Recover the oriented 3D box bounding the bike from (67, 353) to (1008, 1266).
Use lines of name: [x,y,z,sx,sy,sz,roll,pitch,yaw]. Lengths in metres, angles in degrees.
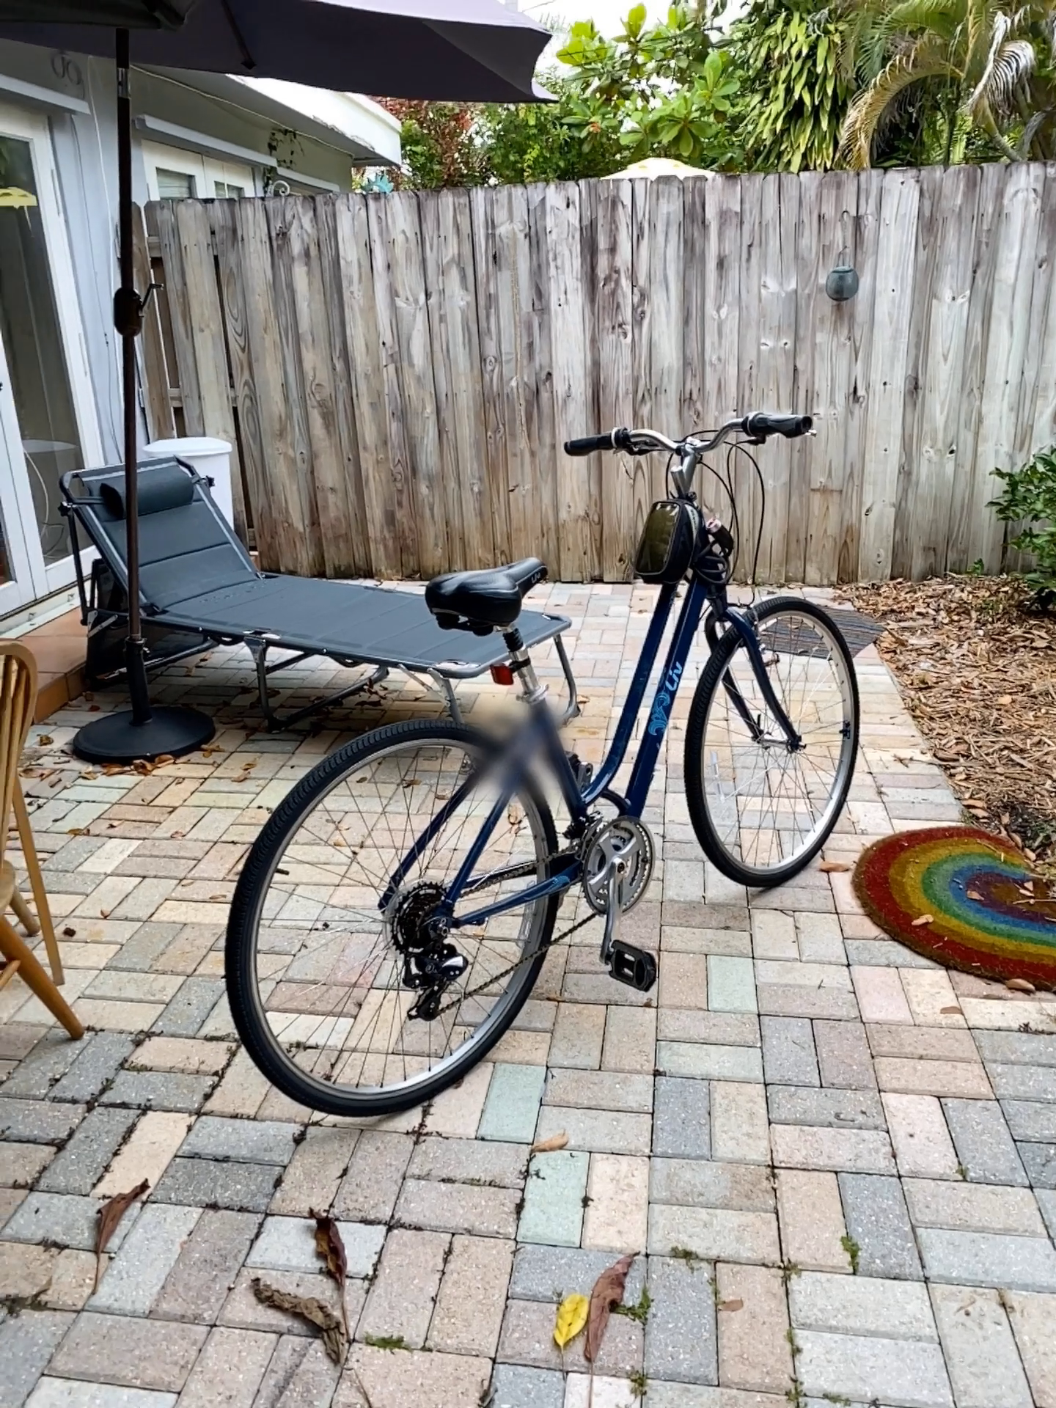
bike: [0.176,-0.021,2.077,1.693,1.067,0.596,-22,28,-38]
